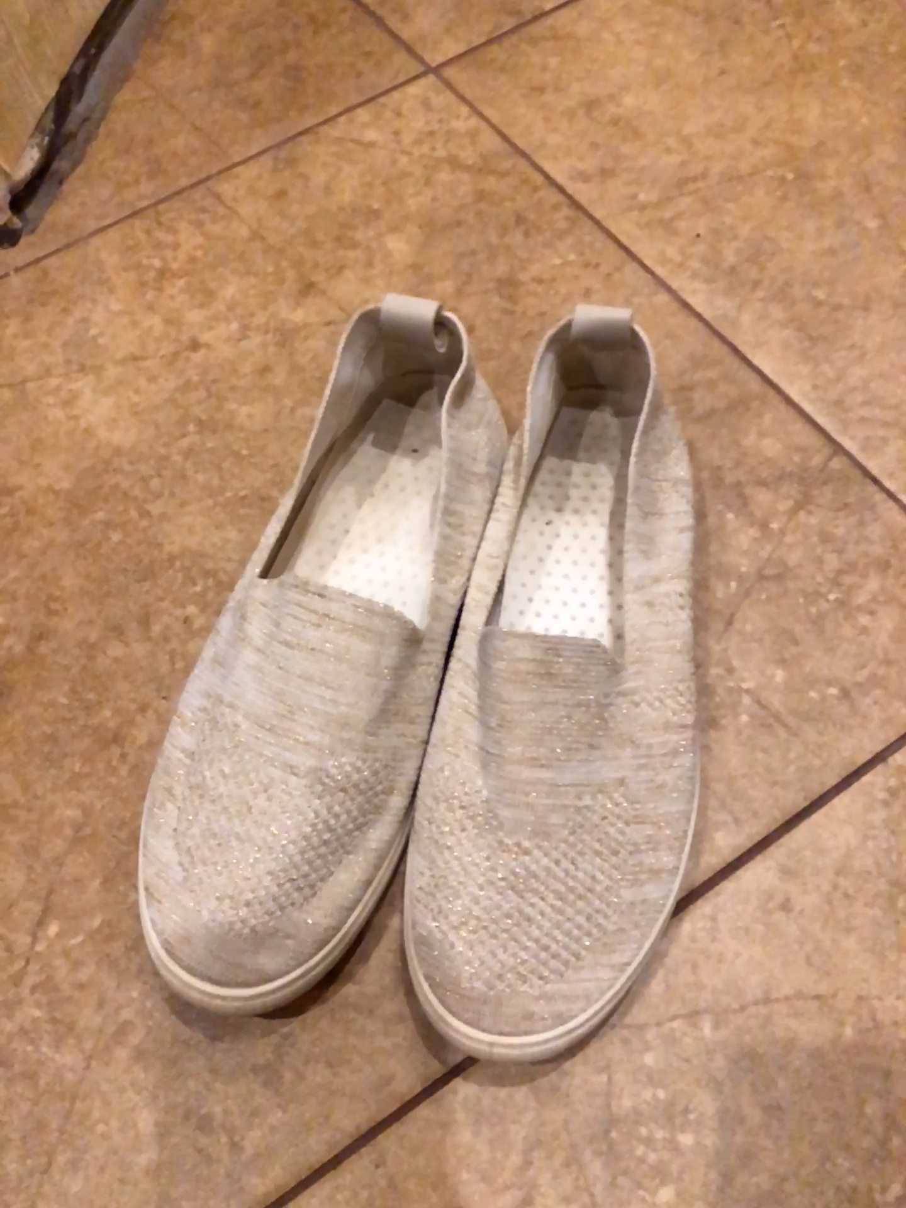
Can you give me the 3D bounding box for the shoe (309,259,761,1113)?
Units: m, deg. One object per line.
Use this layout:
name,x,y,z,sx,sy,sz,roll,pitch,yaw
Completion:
shoe,0.039,0.014,0.332,0.100,0.080,0.261,7,63,8

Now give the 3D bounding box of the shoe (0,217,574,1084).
shoe,-0.038,0.003,0.317,0.090,0.080,0.251,14,64,11
